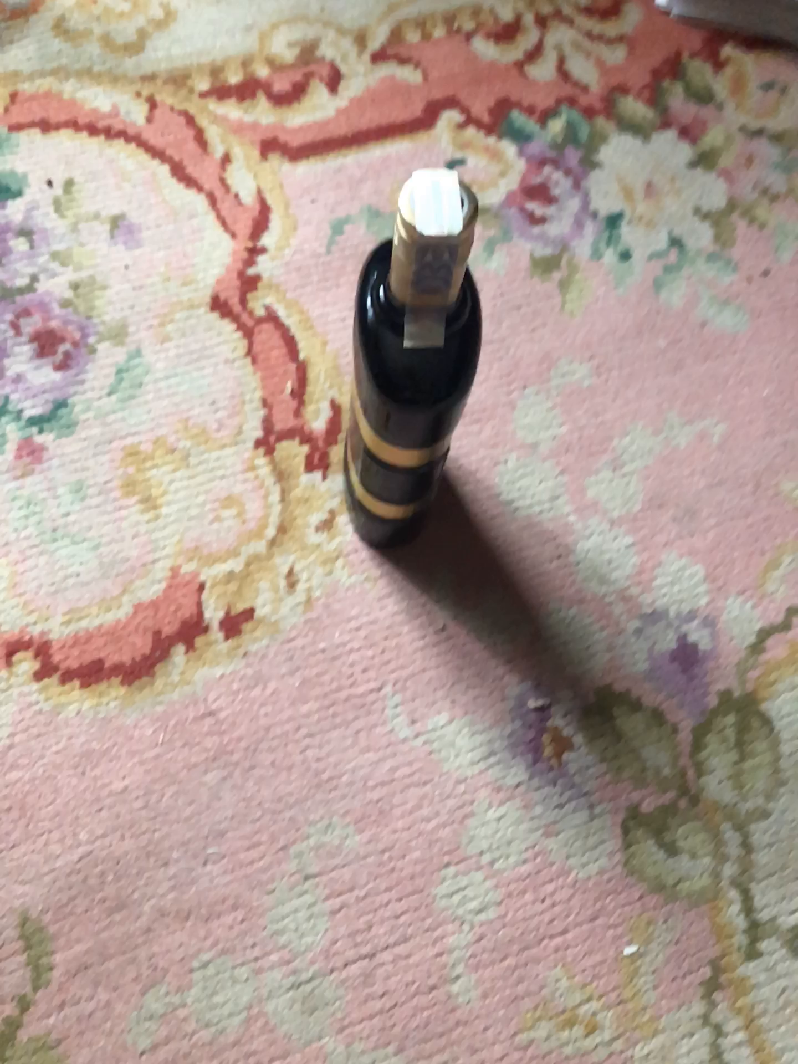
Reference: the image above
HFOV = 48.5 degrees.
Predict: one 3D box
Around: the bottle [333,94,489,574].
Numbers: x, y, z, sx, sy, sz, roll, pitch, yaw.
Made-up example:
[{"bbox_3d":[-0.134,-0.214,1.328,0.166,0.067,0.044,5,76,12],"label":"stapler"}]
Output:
[{"bbox_3d":[-0.003,-0.067,0.413,0.050,0.239,0.100,2,69,-3],"label":"bottle"}]
